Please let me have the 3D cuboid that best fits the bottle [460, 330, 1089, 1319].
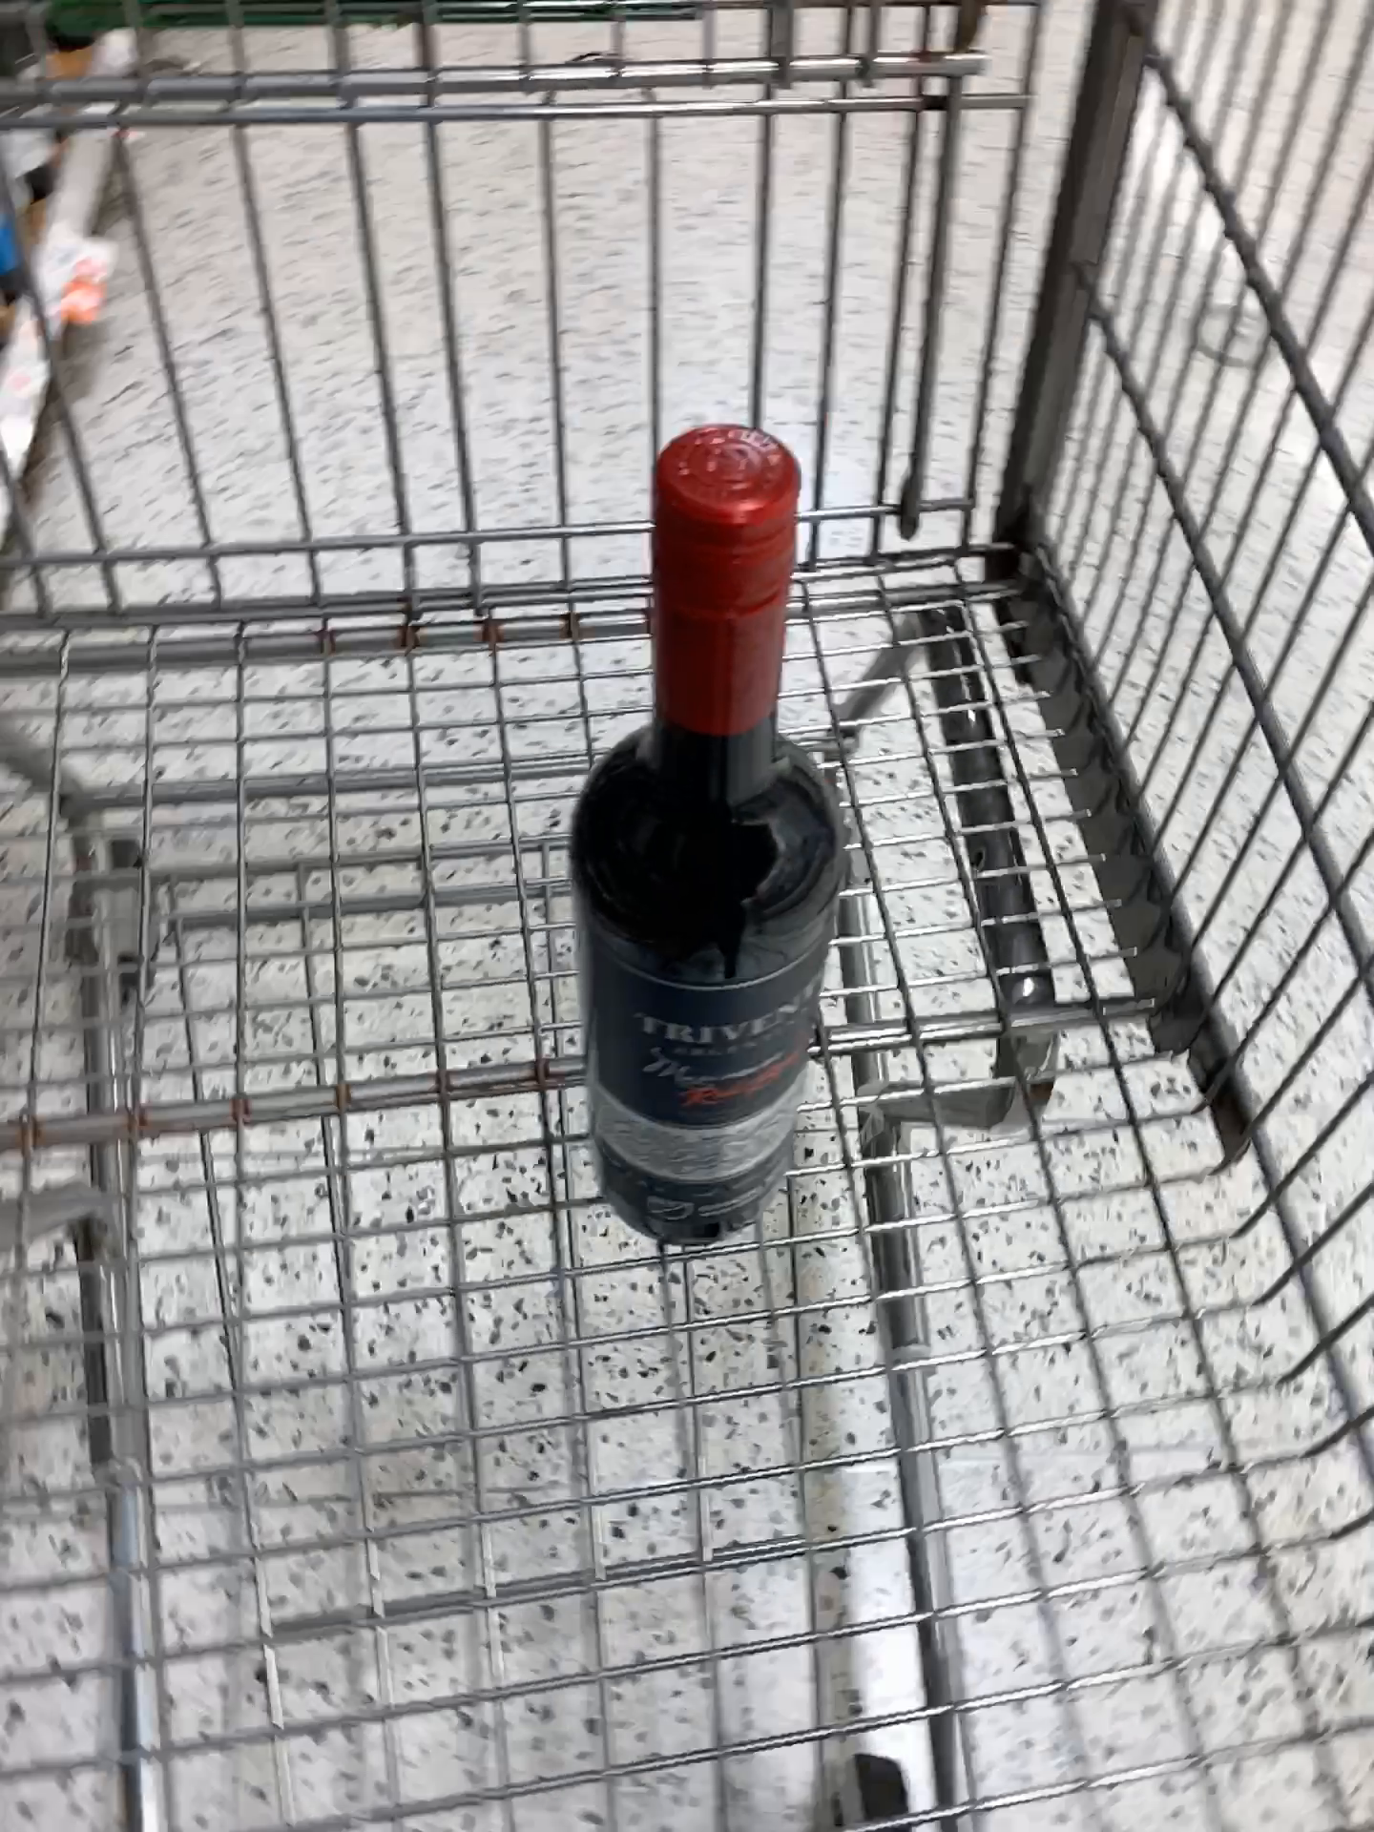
[{"bbox_3d":[0.005,0.009,0.425,0.100,0.337,0.101,2,57,-3],"label":"bottle"}]
